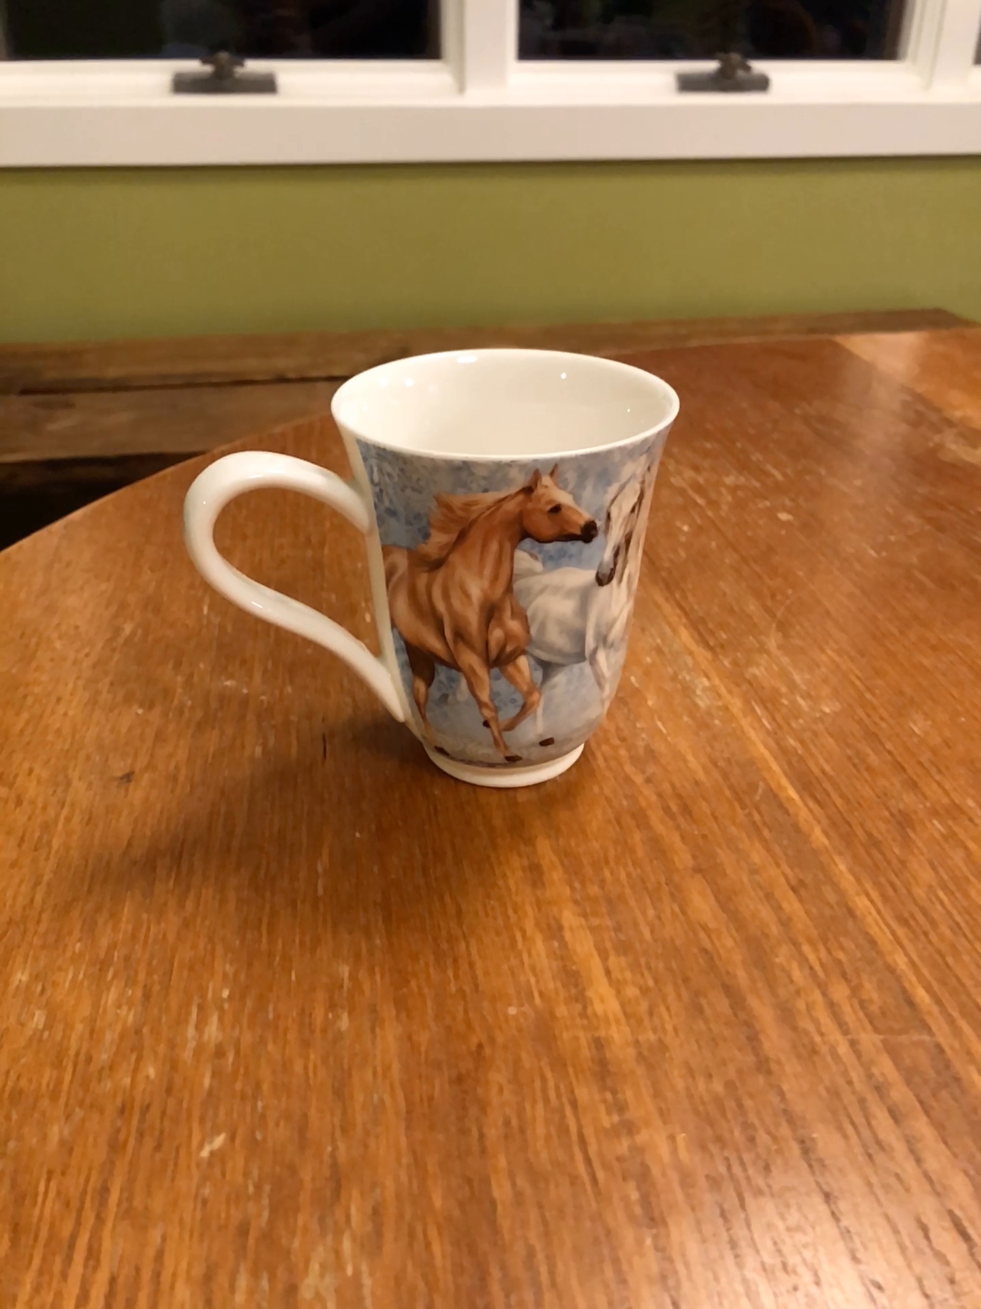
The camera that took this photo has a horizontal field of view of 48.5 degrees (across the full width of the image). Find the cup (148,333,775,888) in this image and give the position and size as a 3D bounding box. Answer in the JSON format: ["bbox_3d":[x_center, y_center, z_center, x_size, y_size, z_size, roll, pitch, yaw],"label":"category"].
[{"bbox_3d":[-0.009,-0.020,0.294,0.133,0.098,0.083,-14,34,-22],"label":"cup"}]
